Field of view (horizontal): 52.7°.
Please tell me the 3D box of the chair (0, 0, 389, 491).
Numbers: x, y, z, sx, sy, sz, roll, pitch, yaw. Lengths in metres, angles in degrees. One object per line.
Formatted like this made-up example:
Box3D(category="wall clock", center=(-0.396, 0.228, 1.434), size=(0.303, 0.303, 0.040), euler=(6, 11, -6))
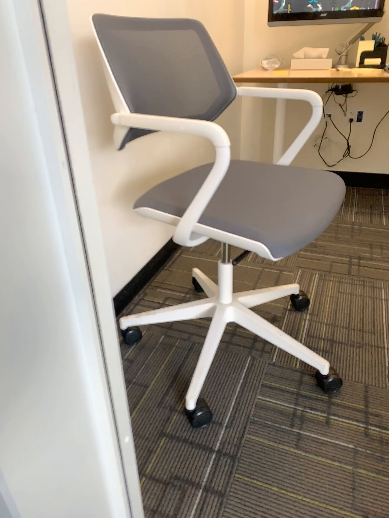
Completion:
Box3D(category="chair", center=(0.094, -0.161, 1.094), size=(0.802, 0.914, 0.803), euler=(12, 32, 23))
